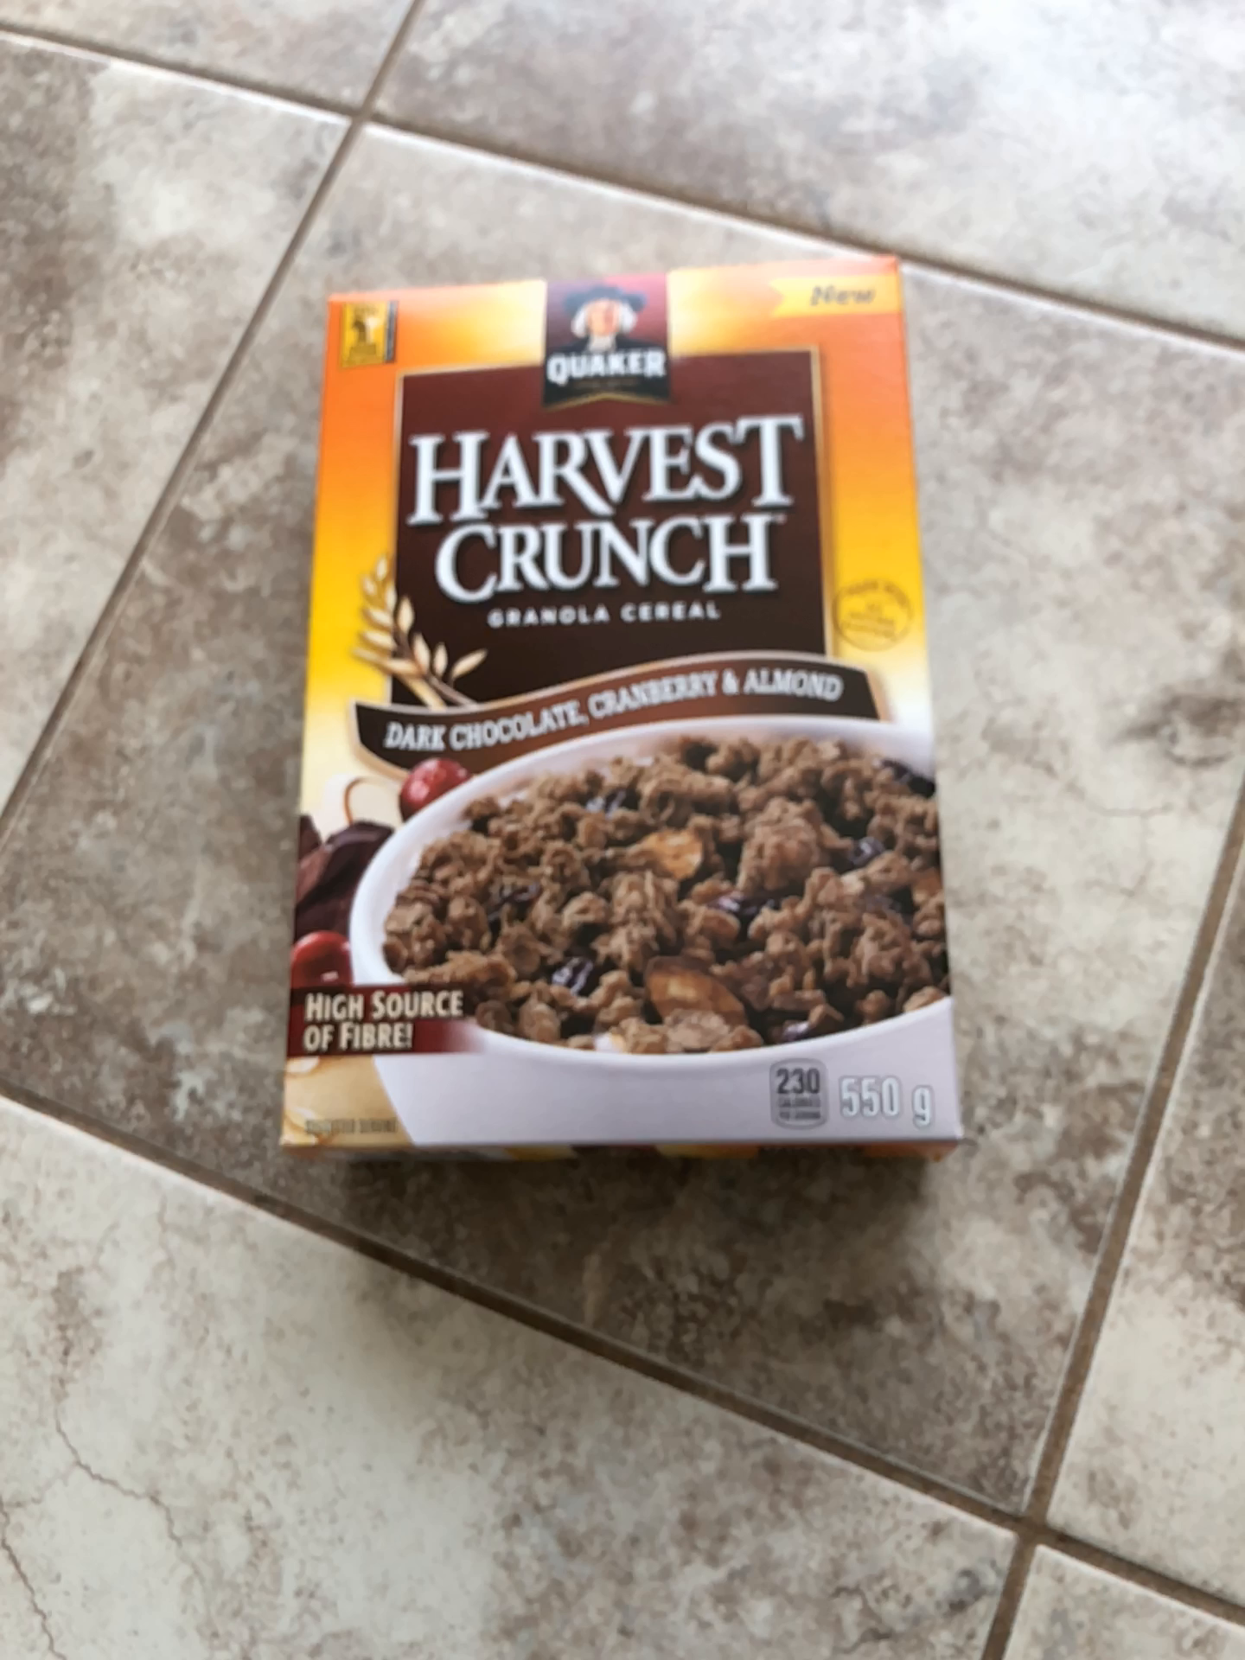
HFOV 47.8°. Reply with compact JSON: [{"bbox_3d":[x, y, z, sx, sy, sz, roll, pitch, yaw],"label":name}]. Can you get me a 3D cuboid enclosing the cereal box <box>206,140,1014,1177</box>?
[{"bbox_3d":[-0.002,-0.041,0.361,0.170,0.070,0.250,-2,74,5],"label":"cereal box"}]
